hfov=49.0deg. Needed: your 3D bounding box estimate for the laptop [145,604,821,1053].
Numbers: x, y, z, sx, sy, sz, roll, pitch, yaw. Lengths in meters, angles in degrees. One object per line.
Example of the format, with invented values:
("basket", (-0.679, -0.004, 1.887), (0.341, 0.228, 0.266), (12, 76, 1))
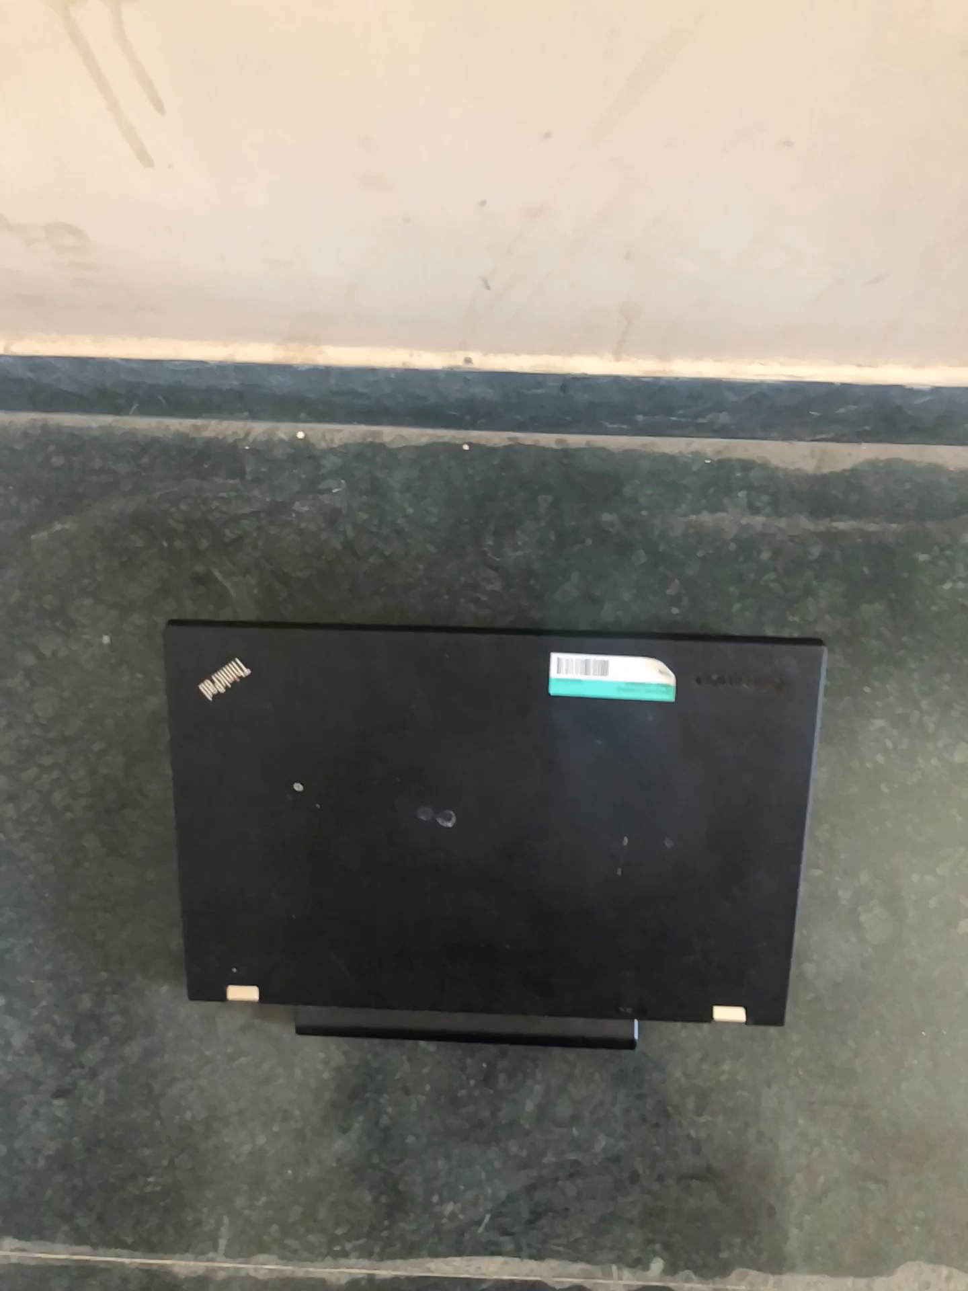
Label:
("laptop", (0.005, 0.101, 0.619), (0.349, 0.095, 0.227), (2, 78, 0))
